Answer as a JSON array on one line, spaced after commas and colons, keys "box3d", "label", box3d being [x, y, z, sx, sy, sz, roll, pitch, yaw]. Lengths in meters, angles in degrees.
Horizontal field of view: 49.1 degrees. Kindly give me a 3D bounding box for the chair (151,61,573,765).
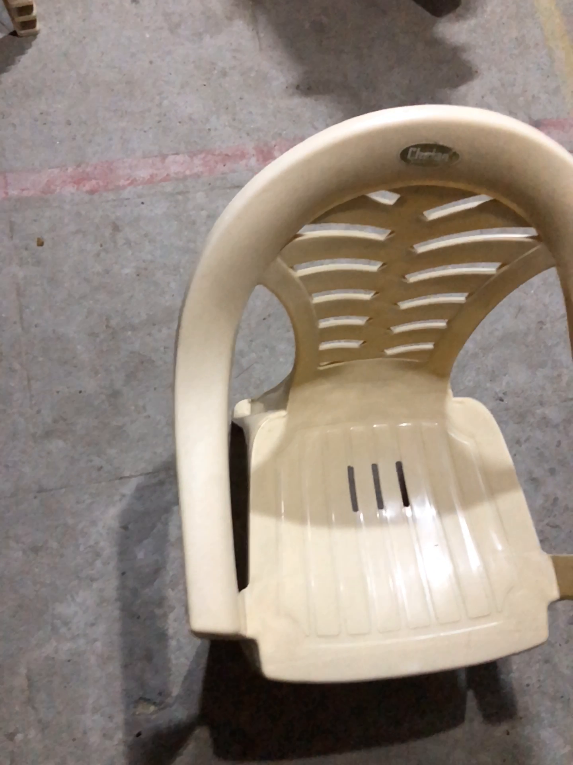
[{"box3d": [0.148, 0.133, 0.843, 0.560, 0.868, 0.561, -1, 77, -7], "label": "chair"}]
